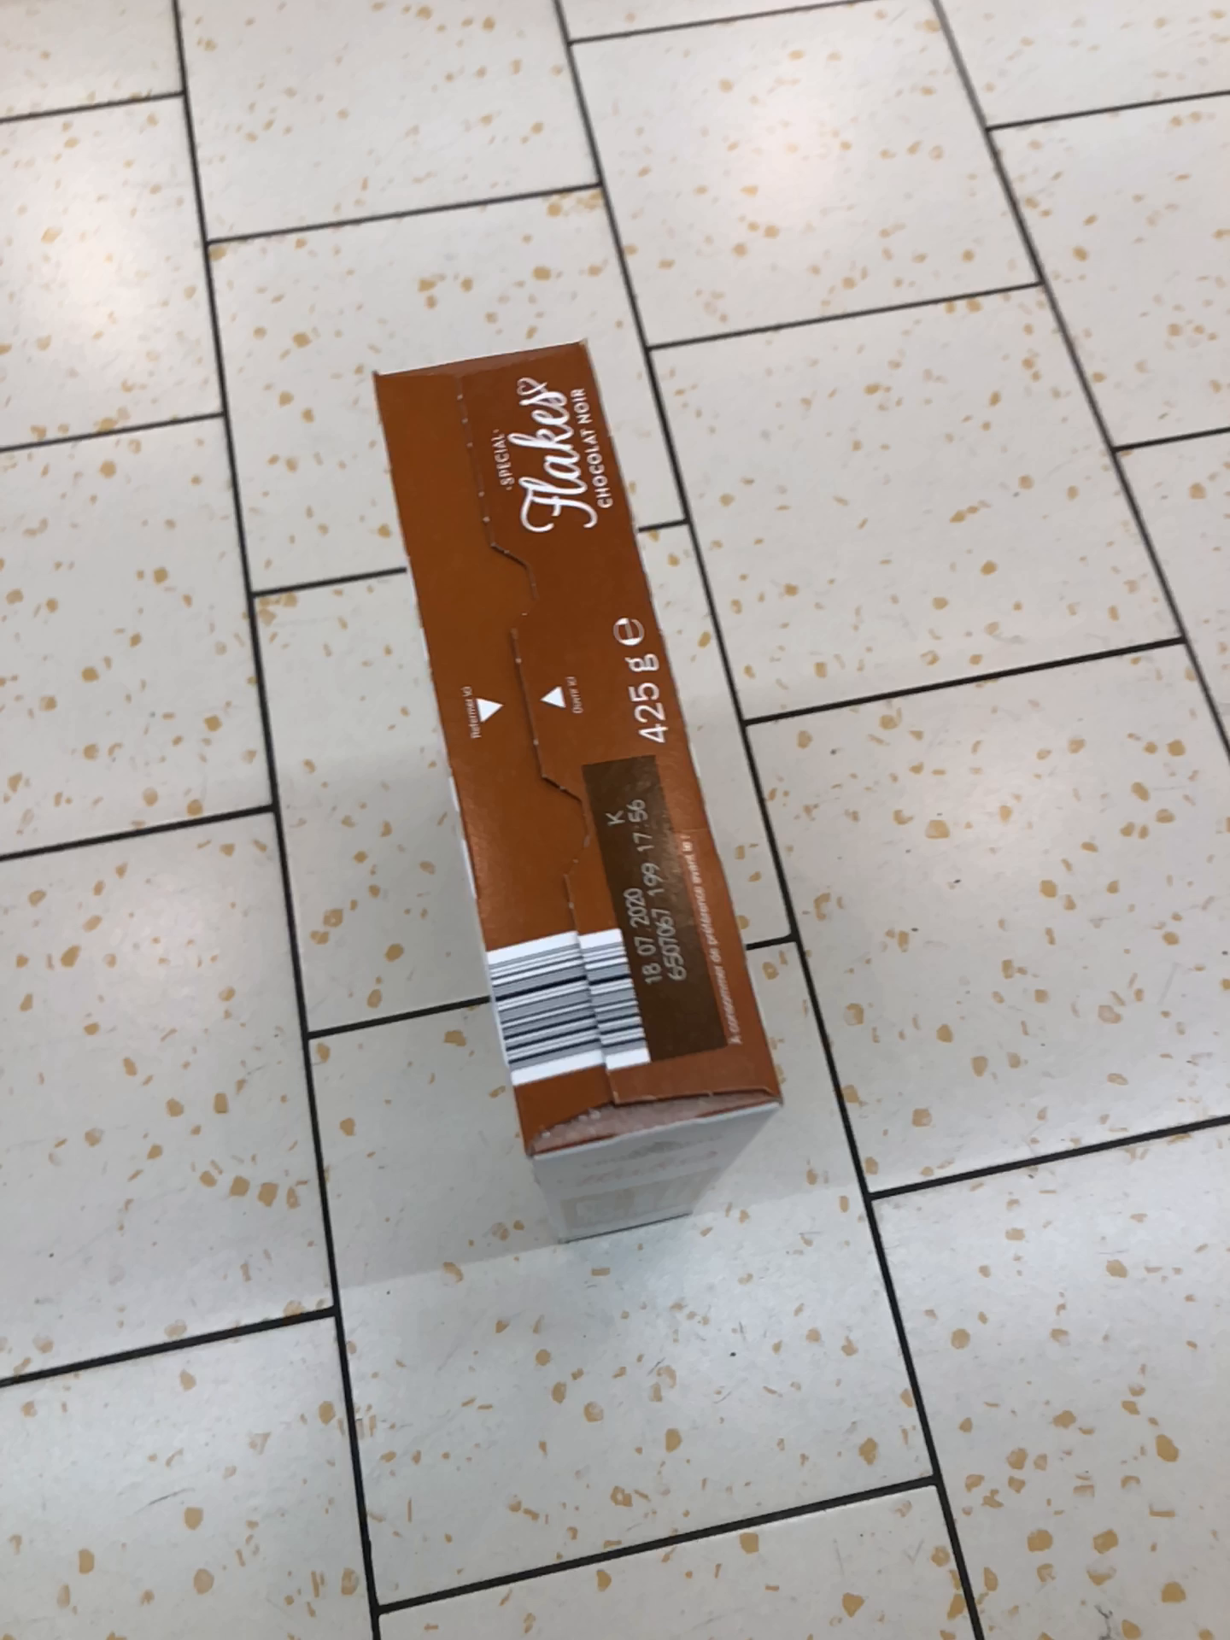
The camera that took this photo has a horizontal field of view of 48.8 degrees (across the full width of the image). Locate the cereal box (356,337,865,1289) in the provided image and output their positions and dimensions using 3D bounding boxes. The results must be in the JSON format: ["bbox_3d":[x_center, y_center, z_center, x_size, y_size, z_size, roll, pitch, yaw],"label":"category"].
[{"bbox_3d":[-0.007,0.027,0.413,0.070,0.259,0.200,-11,69,-4],"label":"cereal box"}]
